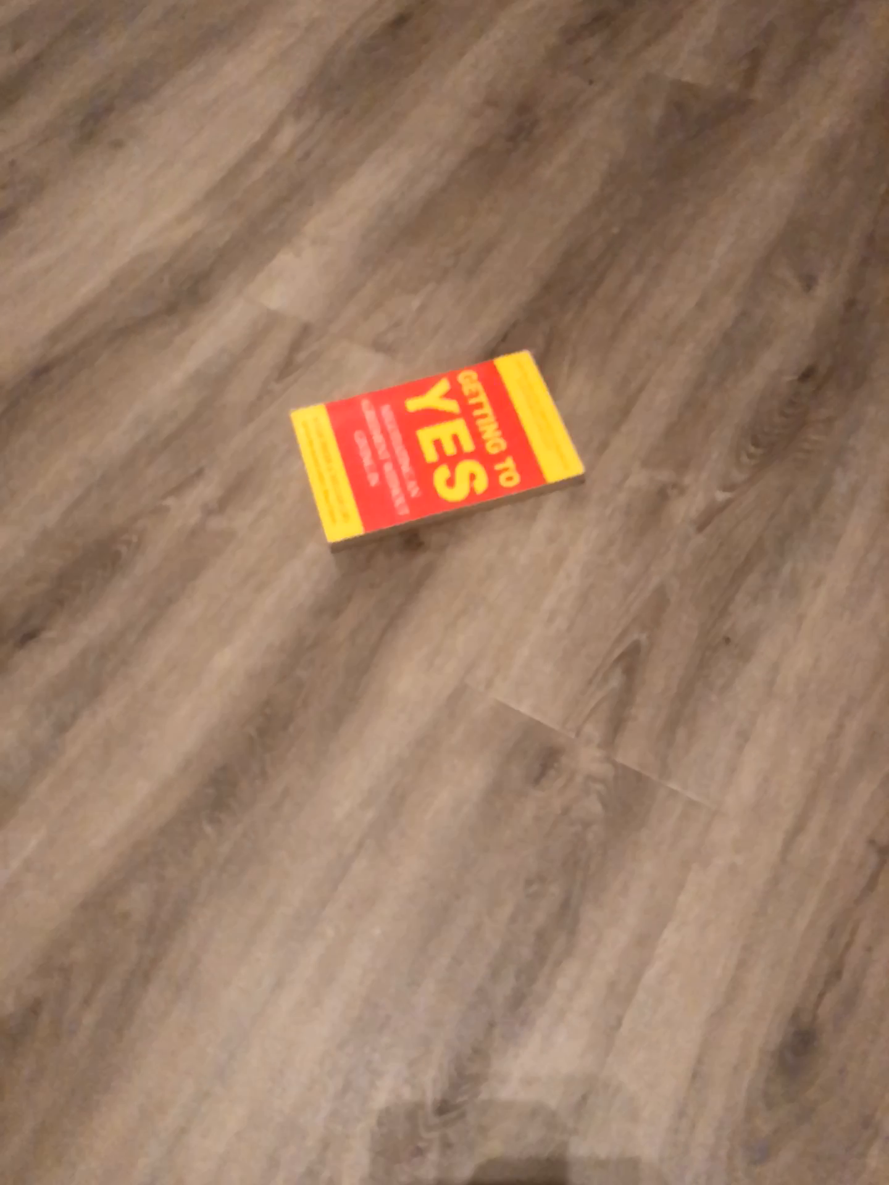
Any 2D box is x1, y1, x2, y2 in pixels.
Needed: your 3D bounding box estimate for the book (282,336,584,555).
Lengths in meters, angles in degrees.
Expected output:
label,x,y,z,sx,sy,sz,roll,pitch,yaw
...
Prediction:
label,x,y,z,sx,sy,sz,roll,pitch,yaw
book,-0.011,-0.111,0.712,0.190,0.026,0.130,-16,59,-6
